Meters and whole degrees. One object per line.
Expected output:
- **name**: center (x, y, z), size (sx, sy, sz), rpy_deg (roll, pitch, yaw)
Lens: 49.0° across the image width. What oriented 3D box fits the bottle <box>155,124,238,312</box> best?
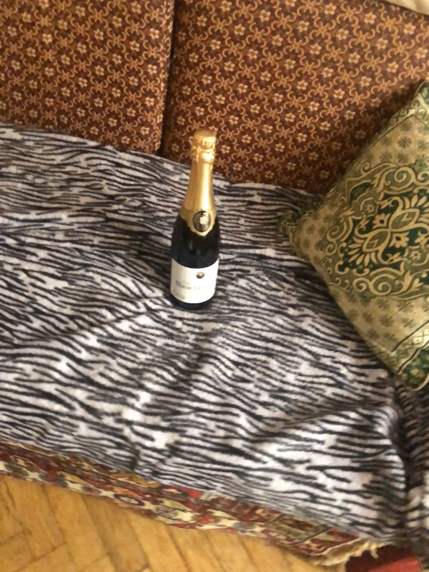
- **bottle**: center (-0.035, -0.094, 0.726), size (0.100, 0.278, 0.101), rpy_deg (3, 44, -2)
